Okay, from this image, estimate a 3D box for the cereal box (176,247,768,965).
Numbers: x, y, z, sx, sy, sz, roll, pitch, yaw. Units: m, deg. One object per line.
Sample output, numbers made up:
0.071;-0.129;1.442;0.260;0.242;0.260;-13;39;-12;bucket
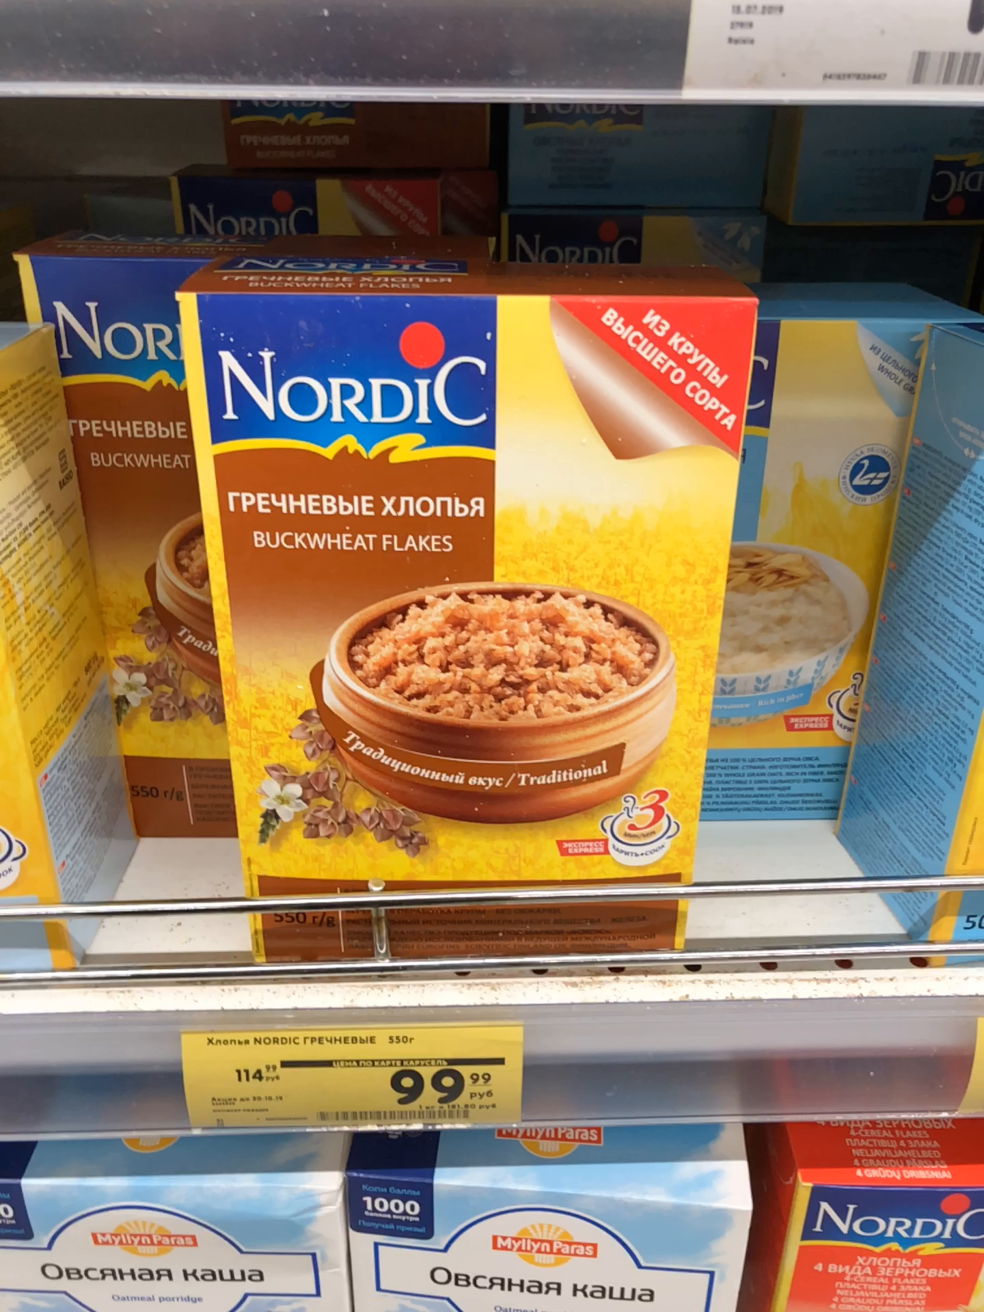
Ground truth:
-0.005;-0.011;0.336;0.140;0.209;0.070;0;27;-1;cereal box
